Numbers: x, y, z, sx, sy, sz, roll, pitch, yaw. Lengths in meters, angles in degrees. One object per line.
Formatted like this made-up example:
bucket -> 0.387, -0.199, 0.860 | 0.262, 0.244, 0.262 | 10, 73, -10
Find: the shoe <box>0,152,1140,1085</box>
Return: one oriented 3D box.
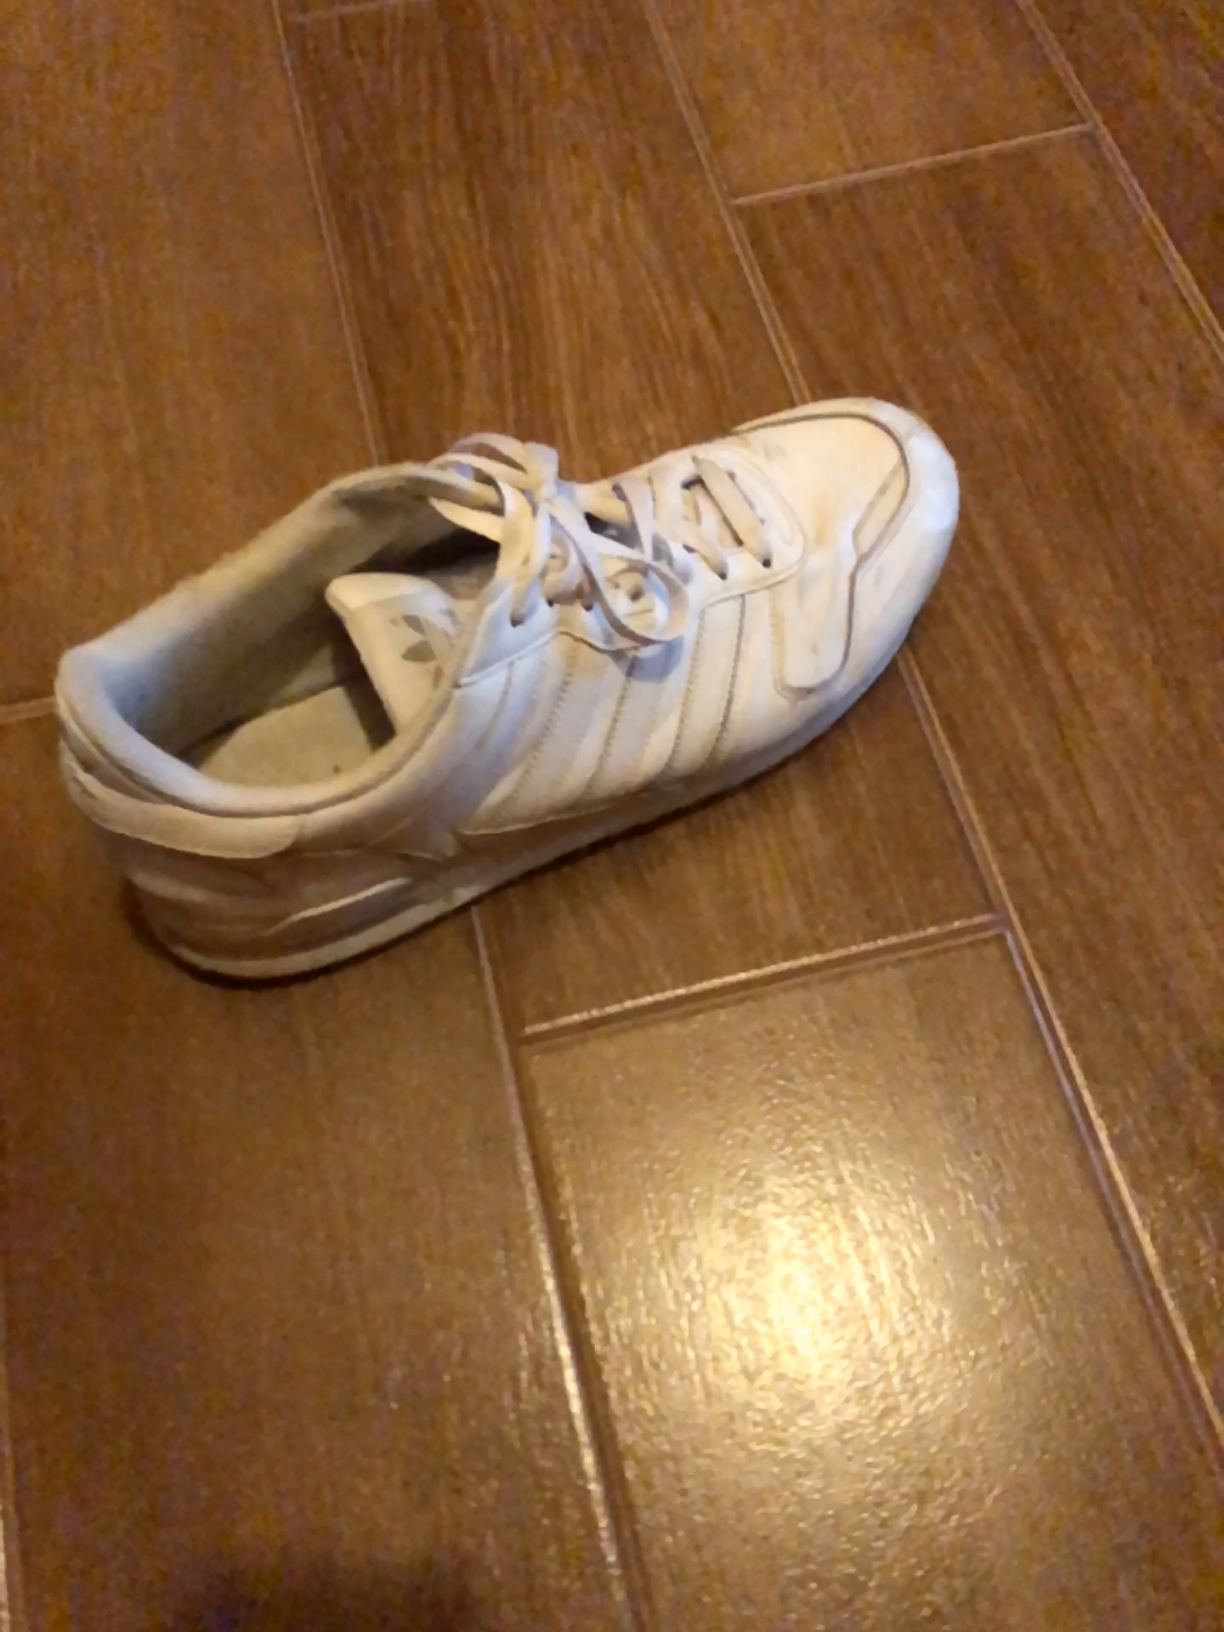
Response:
shoe -> -0.020, -0.059, 0.418 | 0.310, 0.120, 0.120 | -27, 68, -11
